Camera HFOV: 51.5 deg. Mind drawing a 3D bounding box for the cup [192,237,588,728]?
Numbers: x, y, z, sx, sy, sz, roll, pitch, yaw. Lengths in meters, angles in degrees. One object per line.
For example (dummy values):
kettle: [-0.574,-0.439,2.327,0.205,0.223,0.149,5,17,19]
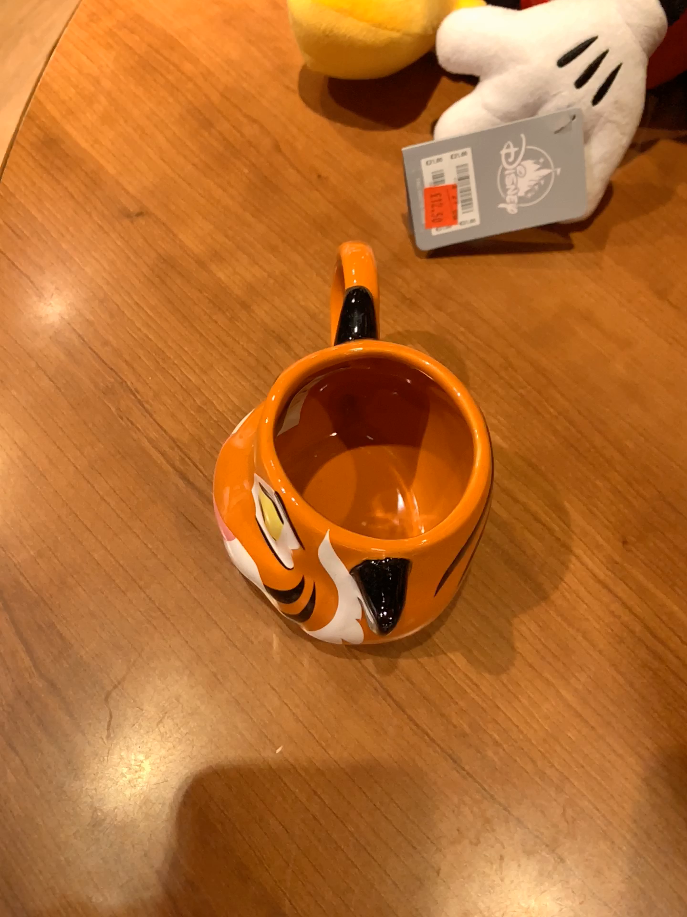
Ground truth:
cup: [0.002,0.010,0.257,0.106,0.087,0.150,-2,66,-9]
